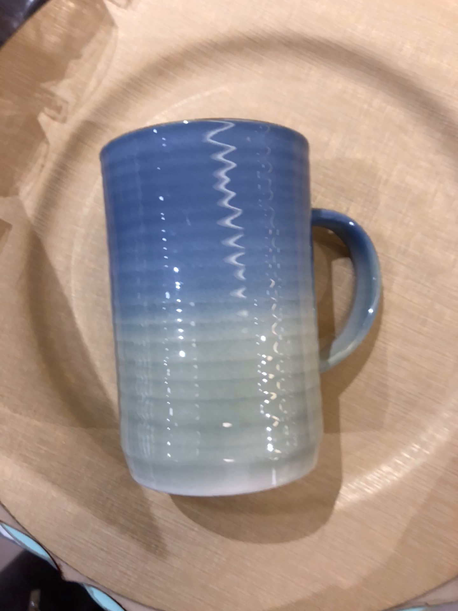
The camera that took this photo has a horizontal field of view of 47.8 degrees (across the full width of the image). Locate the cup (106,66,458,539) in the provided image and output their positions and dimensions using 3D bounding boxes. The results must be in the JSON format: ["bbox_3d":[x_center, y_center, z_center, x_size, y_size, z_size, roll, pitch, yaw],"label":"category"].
[{"bbox_3d":[0.020,-0.004,0.198,0.120,0.060,0.140,-3,86,-16],"label":"cup"}]
